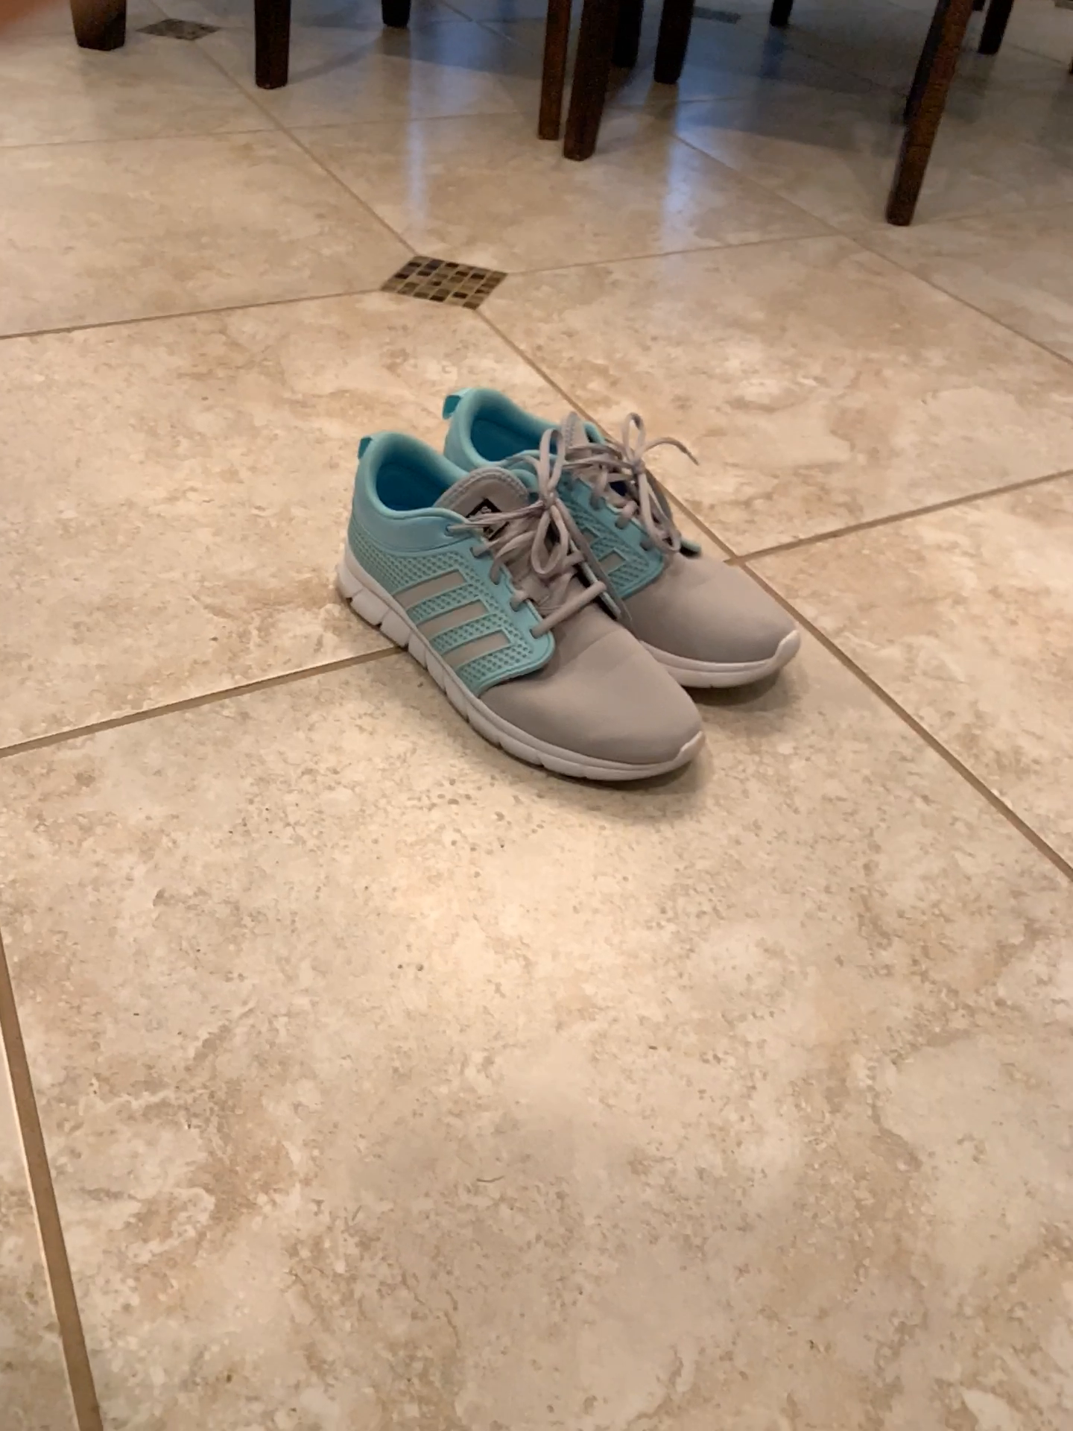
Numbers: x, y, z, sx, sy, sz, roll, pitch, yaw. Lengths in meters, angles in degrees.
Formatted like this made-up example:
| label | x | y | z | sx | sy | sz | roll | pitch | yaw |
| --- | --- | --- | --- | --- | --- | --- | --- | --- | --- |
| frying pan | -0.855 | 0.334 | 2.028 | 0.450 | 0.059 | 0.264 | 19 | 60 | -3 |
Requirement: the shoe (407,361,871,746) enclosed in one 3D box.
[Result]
| label | x | y | z | sx | sy | sz | roll | pitch | yaw |
| --- | --- | --- | --- | --- | --- | --- | --- | --- | --- |
| shoe | 0.052 | -0.112 | 0.701 | 0.271 | 0.108 | 0.107 | 32 | 48 | 26 |

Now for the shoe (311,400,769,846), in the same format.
| label | x | y | z | sx | sy | sz | roll | pitch | yaw |
| --- | --- | --- | --- | --- | --- | --- | --- | --- | --- |
| shoe | -0.012 | -0.067 | 0.648 | 0.107 | 0.108 | 0.272 | -27 | 52 | -31 |
